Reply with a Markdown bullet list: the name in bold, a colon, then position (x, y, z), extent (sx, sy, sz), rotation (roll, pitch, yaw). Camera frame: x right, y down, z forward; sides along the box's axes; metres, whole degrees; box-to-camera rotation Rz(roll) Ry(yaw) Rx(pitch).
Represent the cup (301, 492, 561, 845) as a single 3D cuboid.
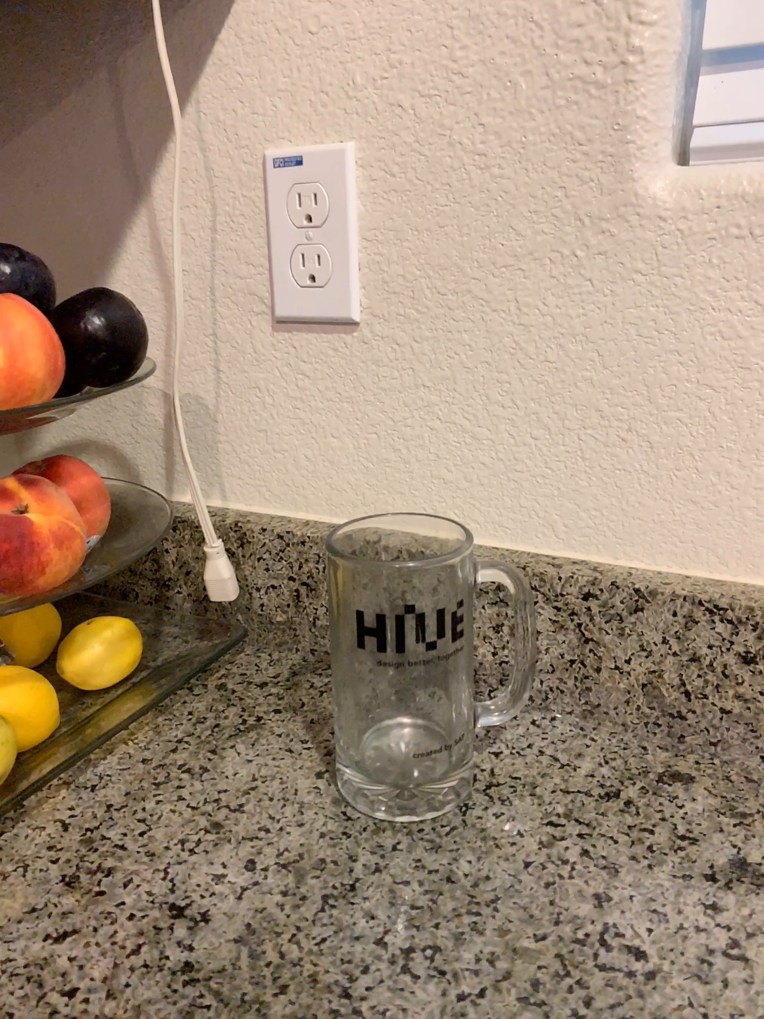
- **cup**: position (0.024, 0.084, 0.443), extent (0.120, 0.159, 0.080), rotation (-6, 18, -13)
